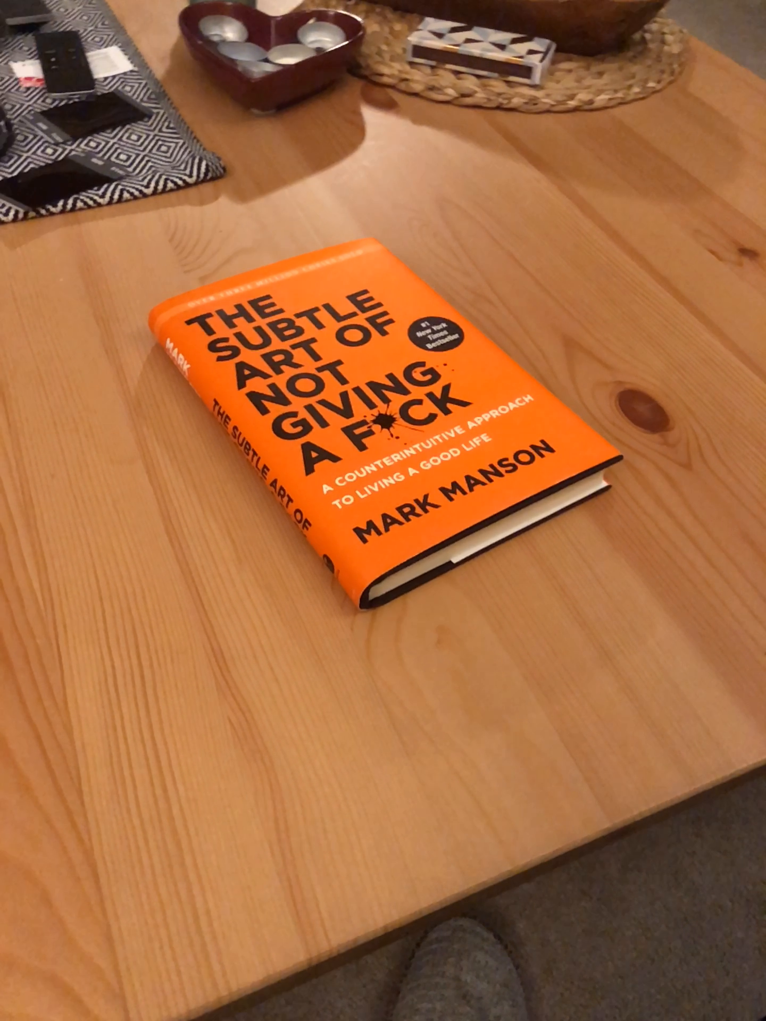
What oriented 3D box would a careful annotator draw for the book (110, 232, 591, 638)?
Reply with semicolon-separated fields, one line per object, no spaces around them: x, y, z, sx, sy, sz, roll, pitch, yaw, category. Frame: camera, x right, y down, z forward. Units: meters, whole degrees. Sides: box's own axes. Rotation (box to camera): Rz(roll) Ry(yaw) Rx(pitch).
-0.025;-0.058;0.451;0.160;0.030;0.221;-24;57;-22;book
